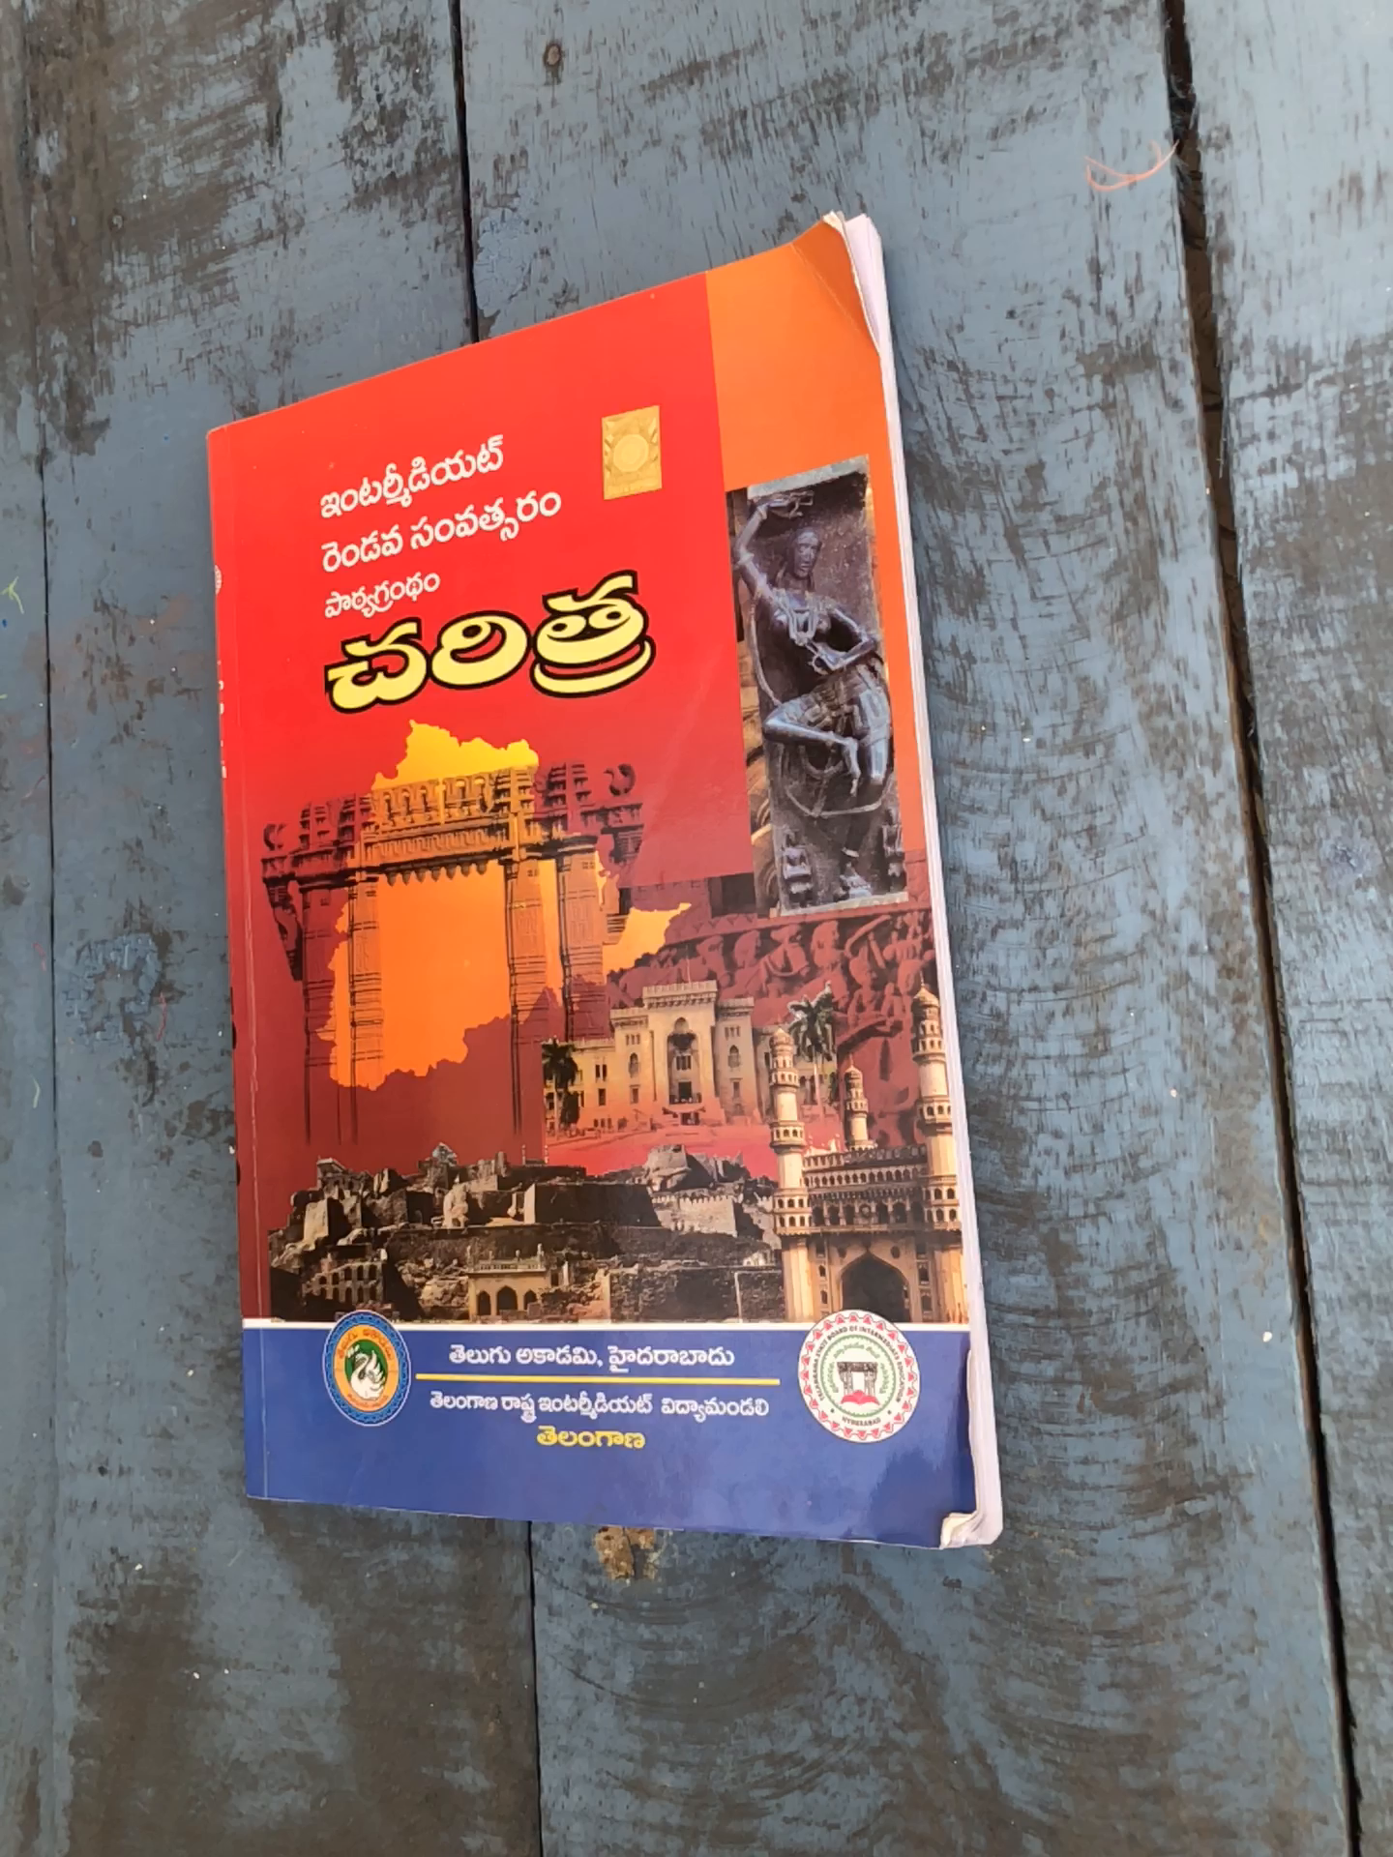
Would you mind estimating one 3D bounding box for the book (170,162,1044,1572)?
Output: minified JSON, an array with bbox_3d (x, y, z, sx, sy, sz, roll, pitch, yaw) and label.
[{"bbox_3d":[-0.031,-0.009,0.348,0.190,0.040,0.270,-6,82,24],"label":"book"}]
